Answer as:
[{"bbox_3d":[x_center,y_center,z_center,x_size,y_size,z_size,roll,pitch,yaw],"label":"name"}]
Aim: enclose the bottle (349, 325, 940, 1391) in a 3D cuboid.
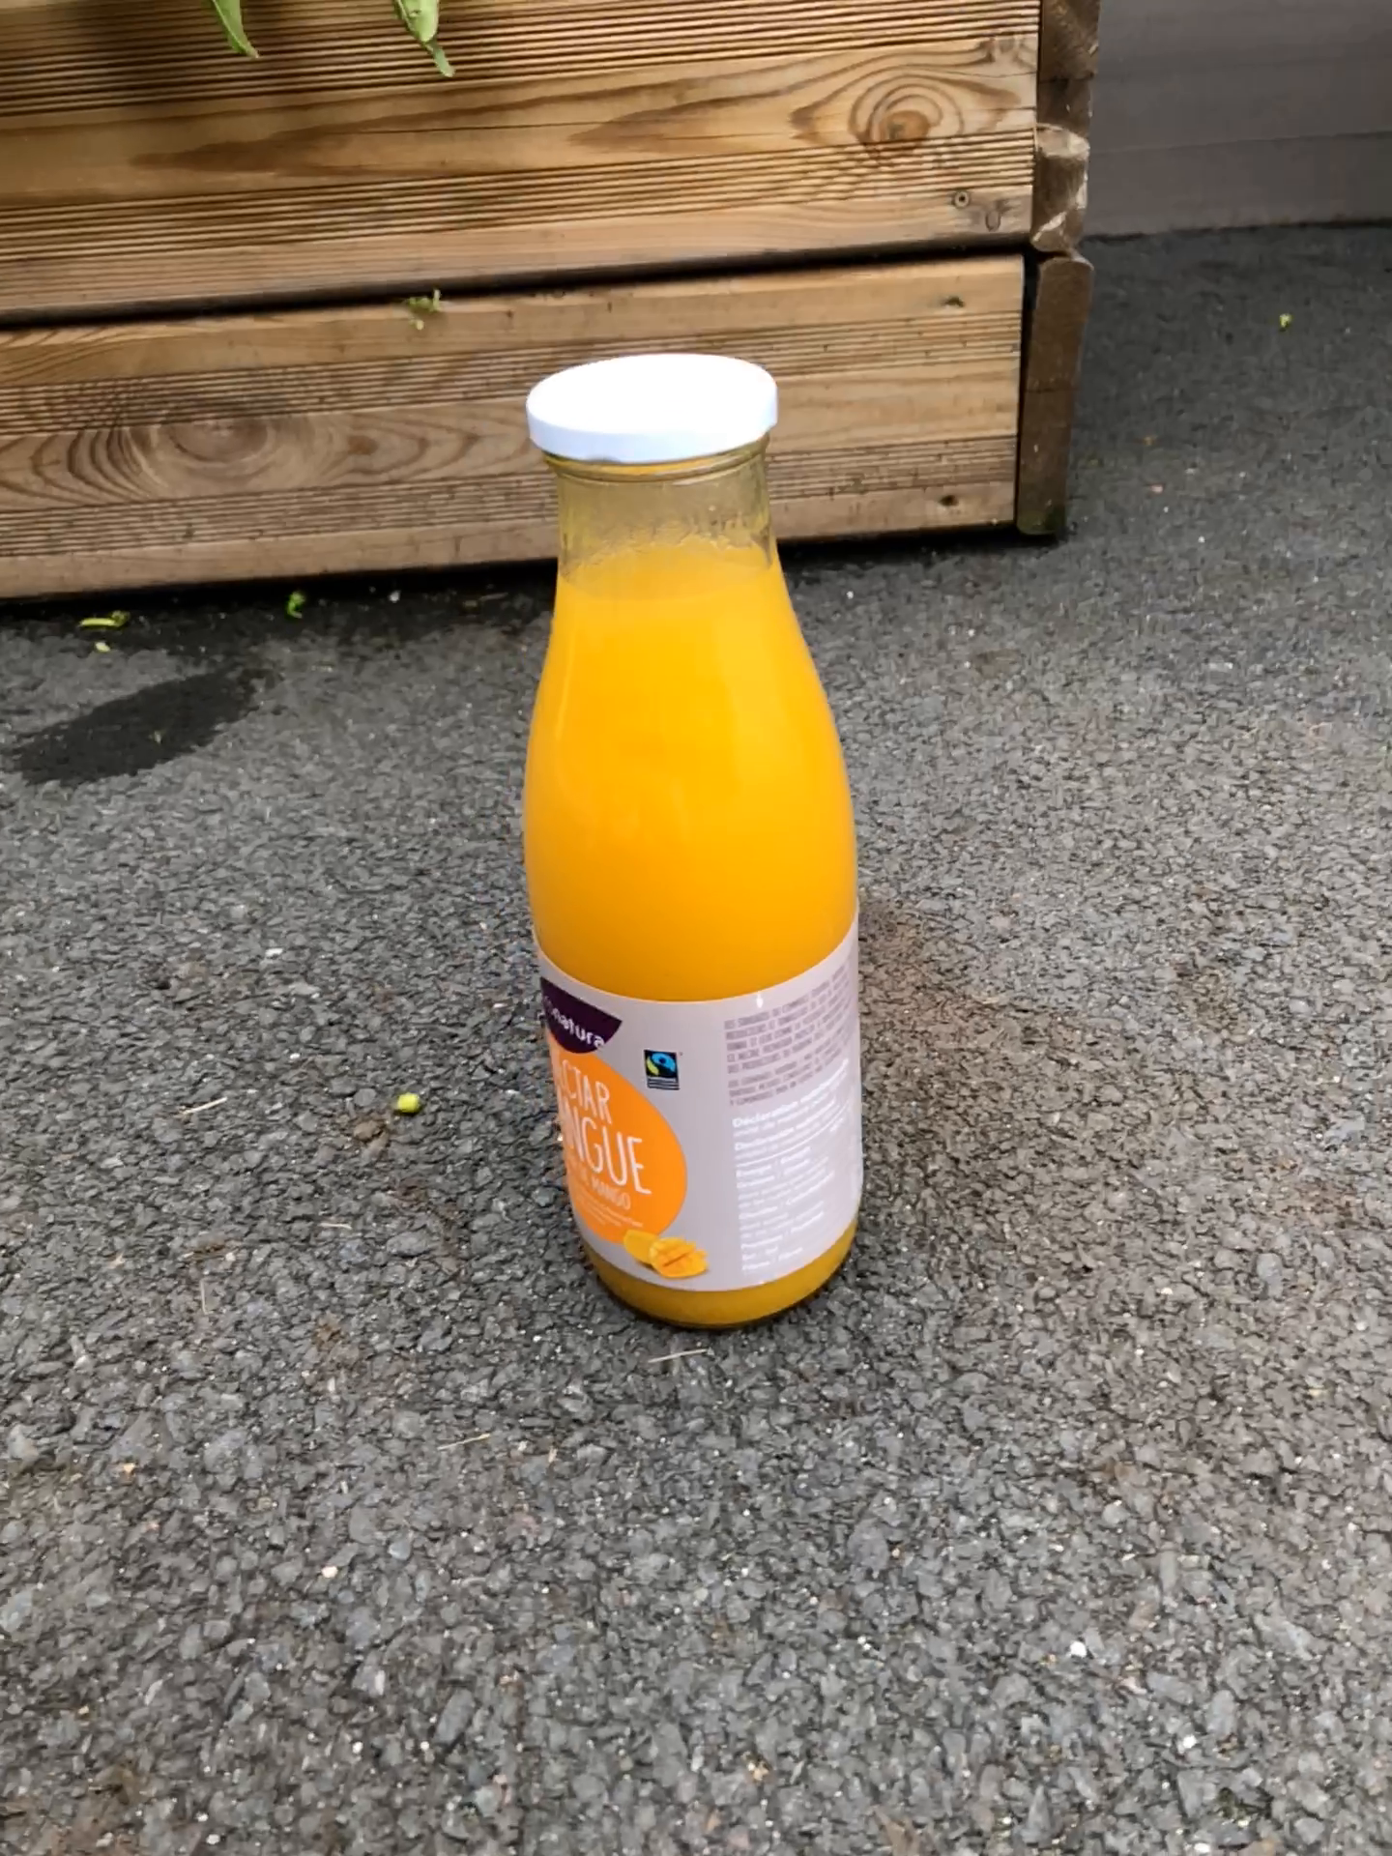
[{"bbox_3d":[-0.005,-0.013,0.344,0.080,0.209,0.080,-3,32,2],"label":"bottle"}]
